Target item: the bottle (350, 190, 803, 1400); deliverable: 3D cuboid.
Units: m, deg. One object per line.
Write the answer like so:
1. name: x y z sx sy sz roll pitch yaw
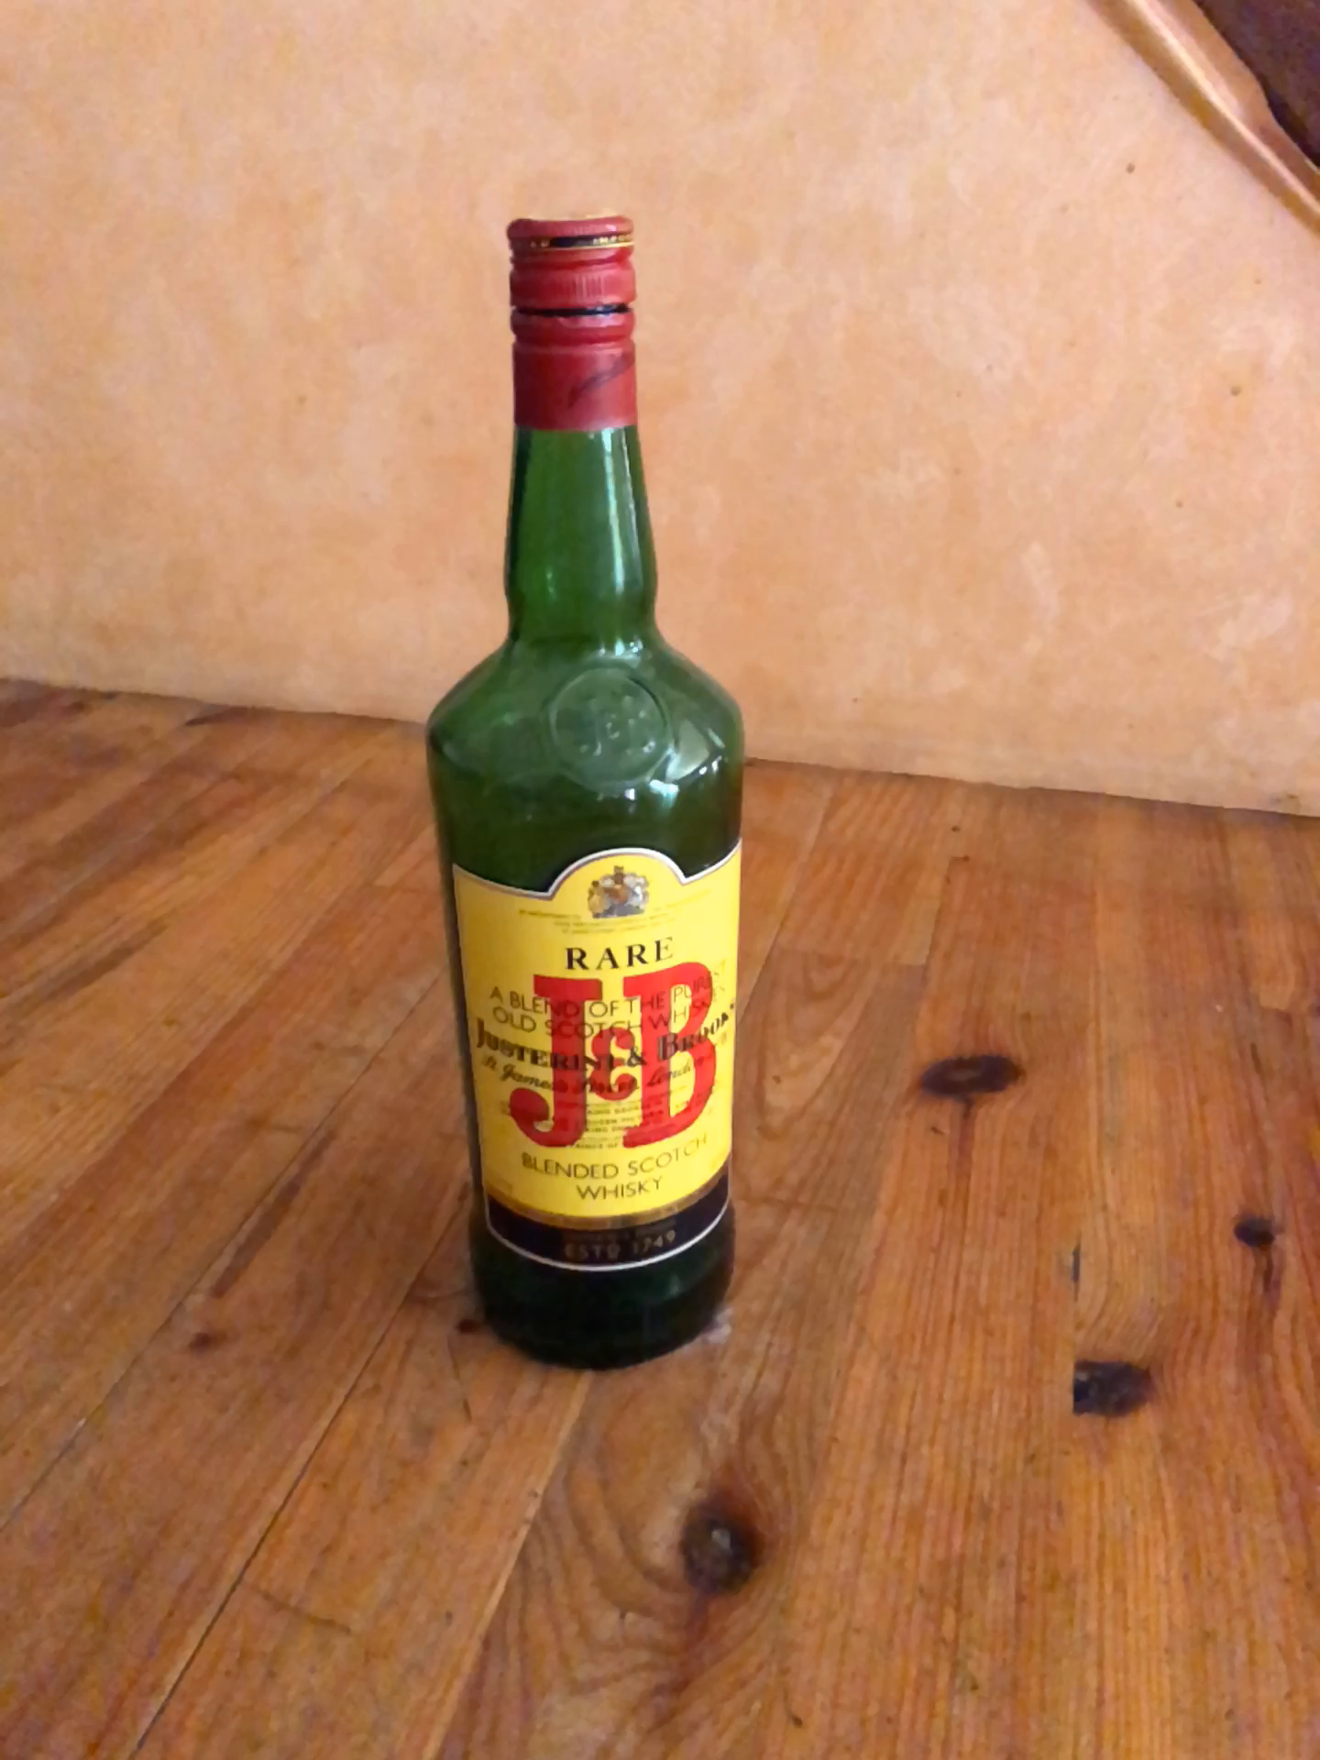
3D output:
1. bottle: -0.020 -0.010 0.396 0.090 0.318 0.080 -5 28 -7
